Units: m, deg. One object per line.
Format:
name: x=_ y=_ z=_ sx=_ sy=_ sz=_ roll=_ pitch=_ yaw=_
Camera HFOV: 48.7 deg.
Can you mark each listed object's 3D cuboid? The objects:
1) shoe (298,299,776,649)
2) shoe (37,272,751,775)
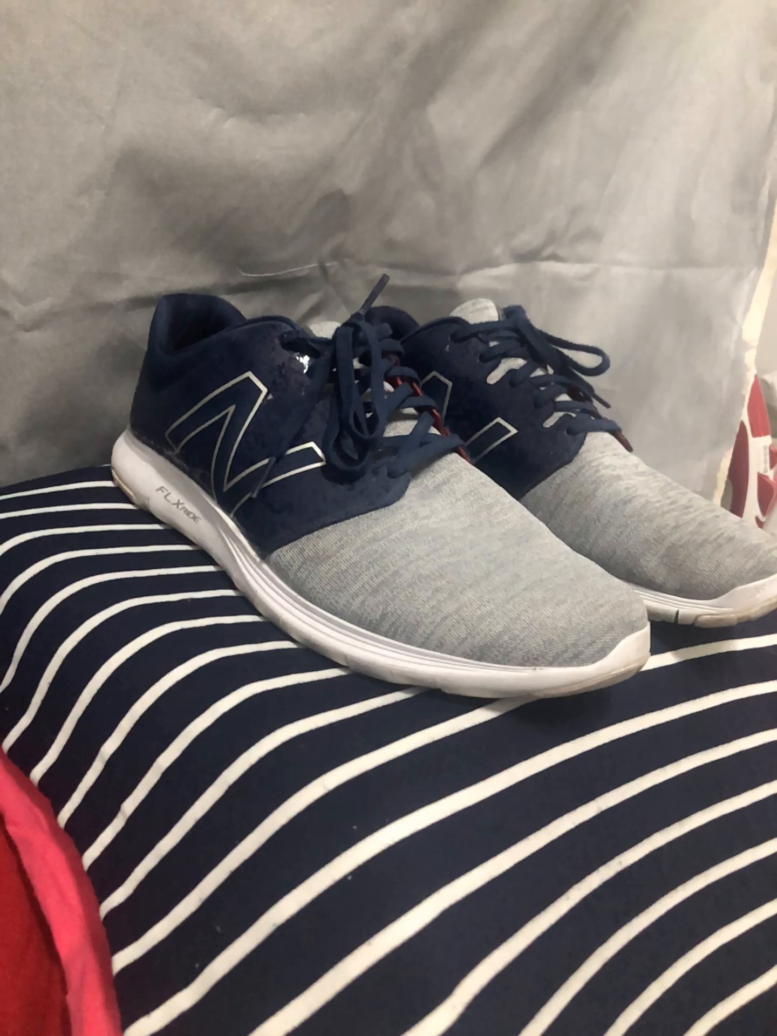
shoe: x=0.086 y=-0.045 z=0.445 sx=0.120 sy=0.079 sz=0.261 roll=-14 pitch=32 yaw=-44
shoe: x=-0.028 y=-0.033 z=0.387 sx=0.120 sy=0.089 sz=0.321 roll=-14 pitch=32 yaw=-44
